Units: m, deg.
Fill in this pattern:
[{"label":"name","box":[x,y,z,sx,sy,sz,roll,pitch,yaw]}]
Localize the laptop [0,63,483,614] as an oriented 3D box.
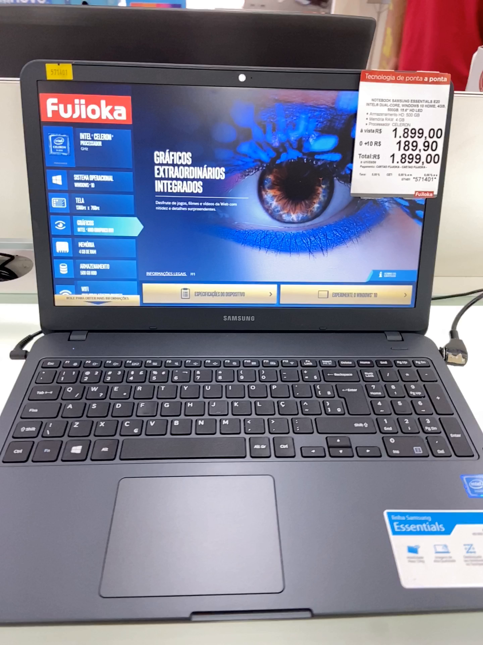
[{"label":"laptop","box":[0.002,-0.029,0.354,0.366,0.207,0.348,0,38,-2]}]
